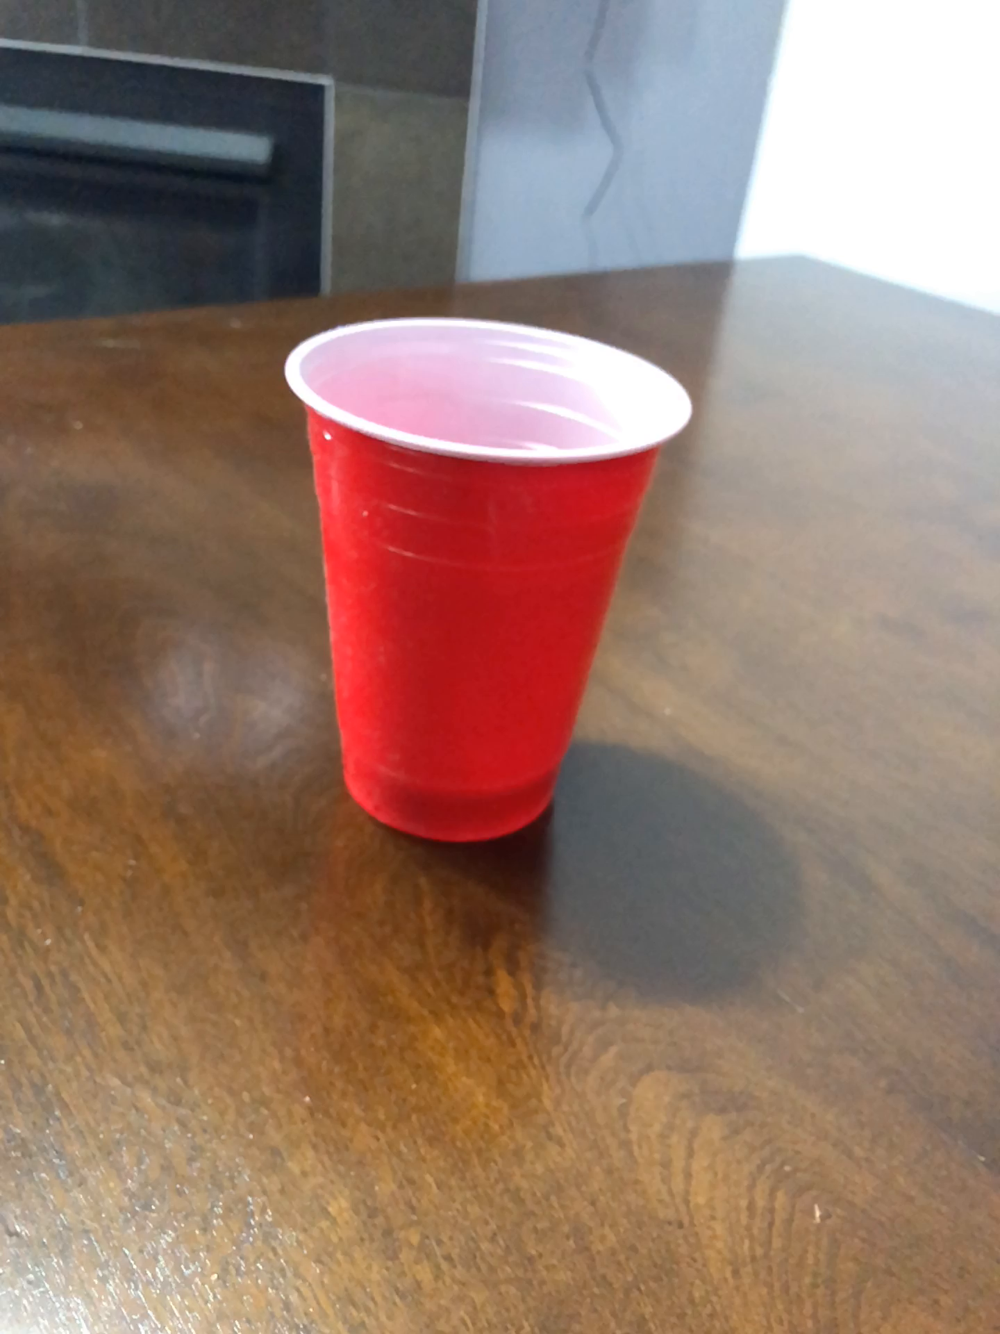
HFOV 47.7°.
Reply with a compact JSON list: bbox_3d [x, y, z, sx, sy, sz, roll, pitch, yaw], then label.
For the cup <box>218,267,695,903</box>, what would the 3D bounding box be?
[{"bbox_3d":[-0.009,-0.025,0.287,0.090,0.119,0.090,5,31,-3],"label":"cup"}]
